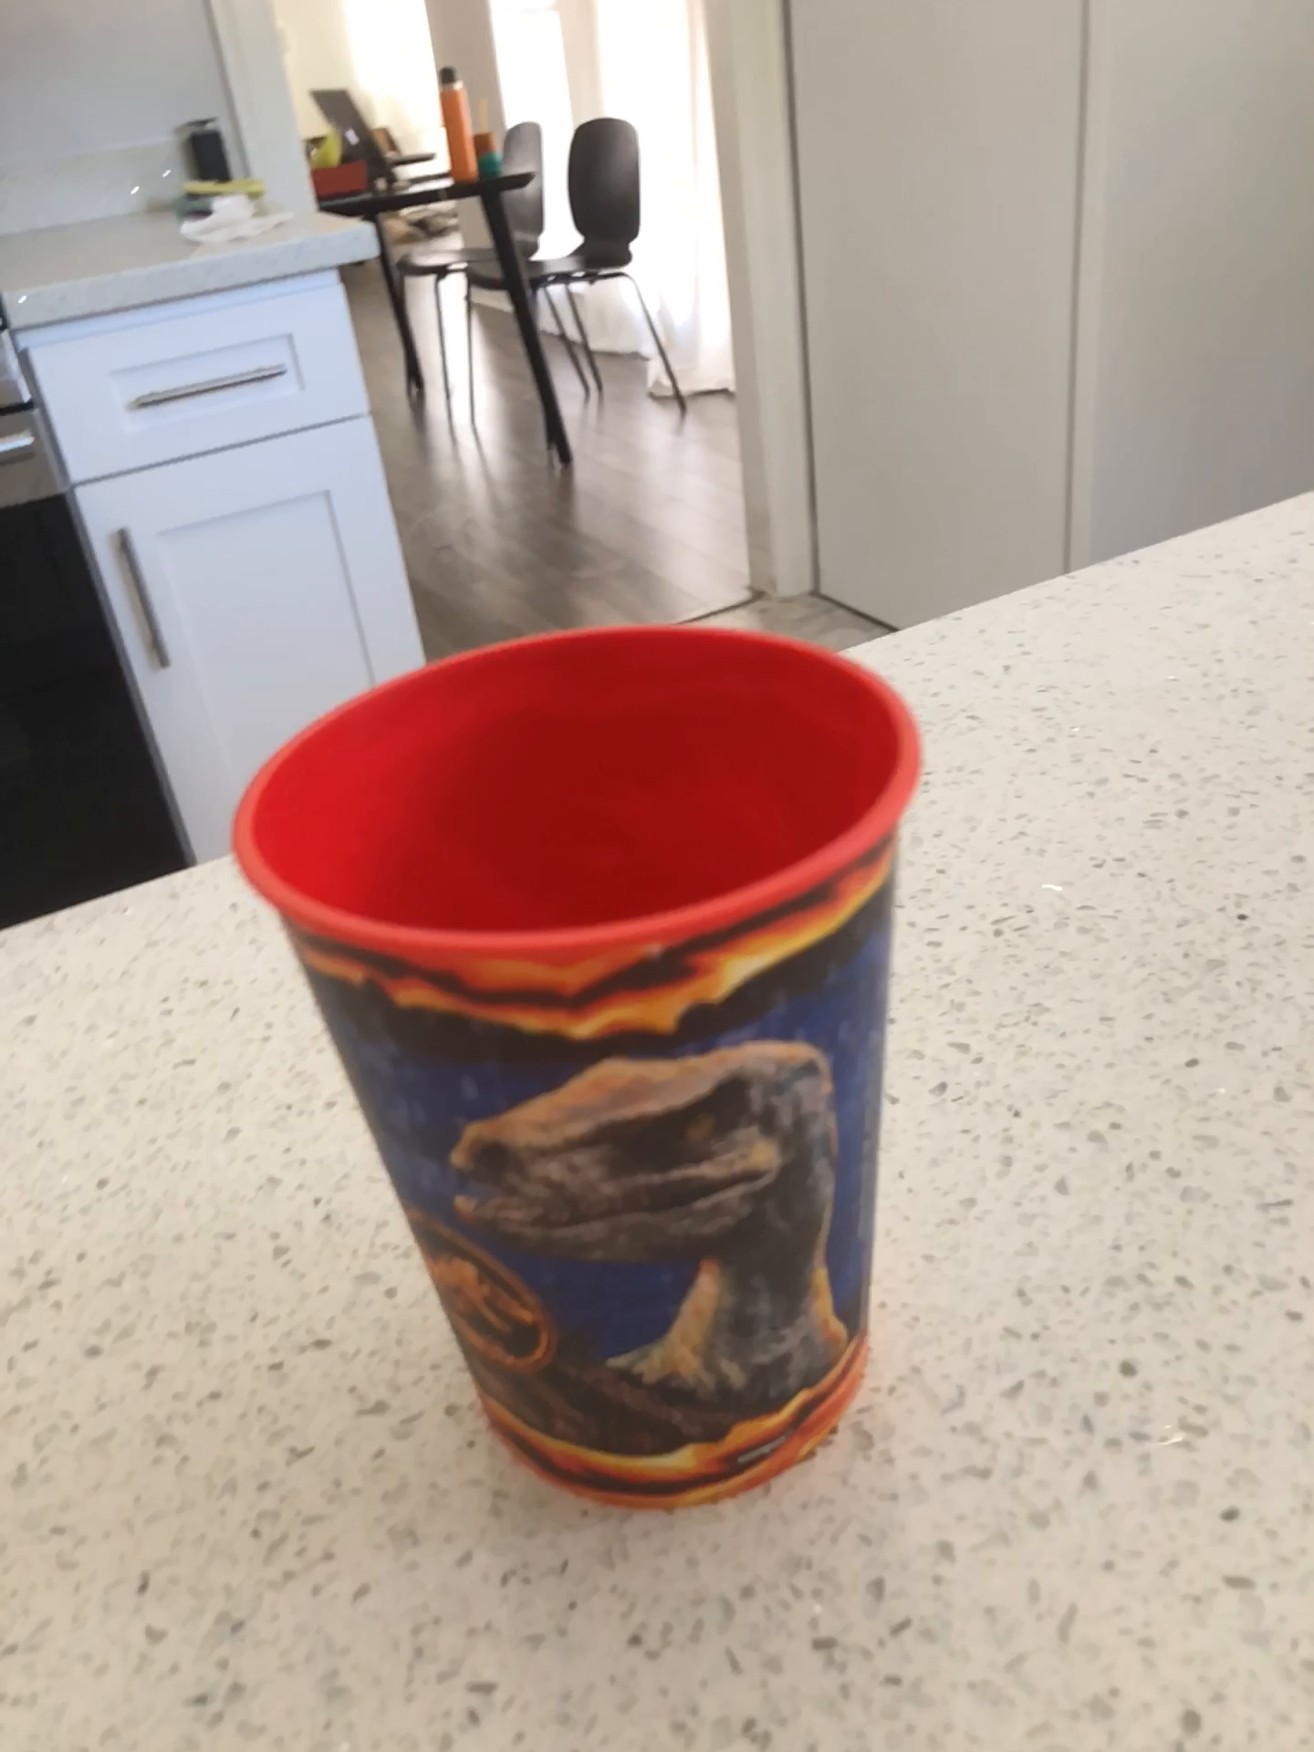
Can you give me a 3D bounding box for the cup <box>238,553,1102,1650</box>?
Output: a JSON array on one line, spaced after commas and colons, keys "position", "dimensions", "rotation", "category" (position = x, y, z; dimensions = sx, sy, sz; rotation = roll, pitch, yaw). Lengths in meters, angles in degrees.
[{"position": [-0.001, 0.026, 0.216], "dimensions": [0.090, 0.110, 0.090], "rotation": [-6, 30, 3], "category": "cup"}]
